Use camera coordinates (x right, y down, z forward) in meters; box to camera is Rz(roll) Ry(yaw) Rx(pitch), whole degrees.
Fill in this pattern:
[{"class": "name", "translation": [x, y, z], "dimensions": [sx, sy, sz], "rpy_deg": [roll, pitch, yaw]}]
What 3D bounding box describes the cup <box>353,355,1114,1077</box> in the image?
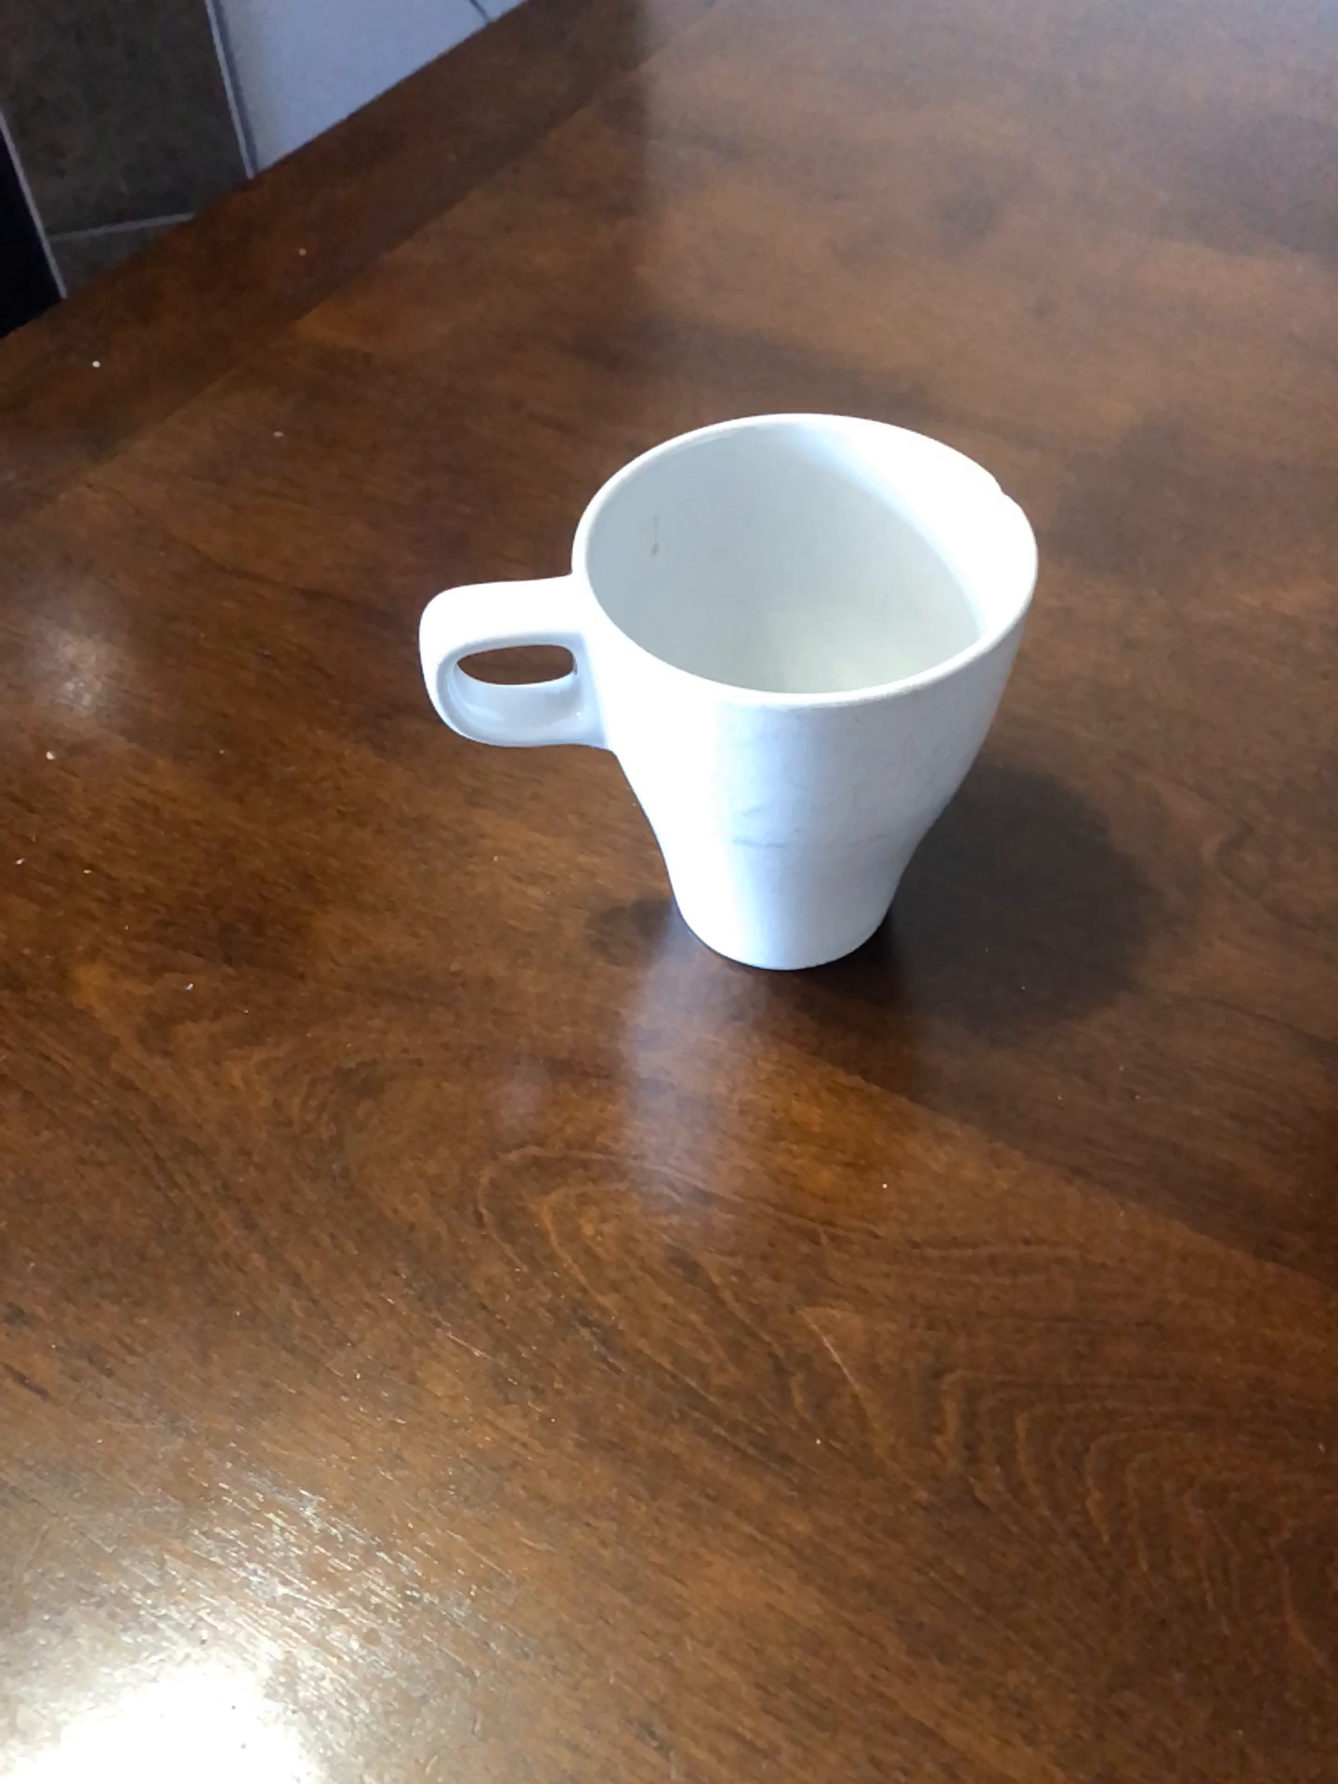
[{"class": "cup", "translation": [0.009, -0.035, 0.307], "dimensions": [0.120, 0.100, 0.080], "rpy_deg": [-12, 50, -8]}]
